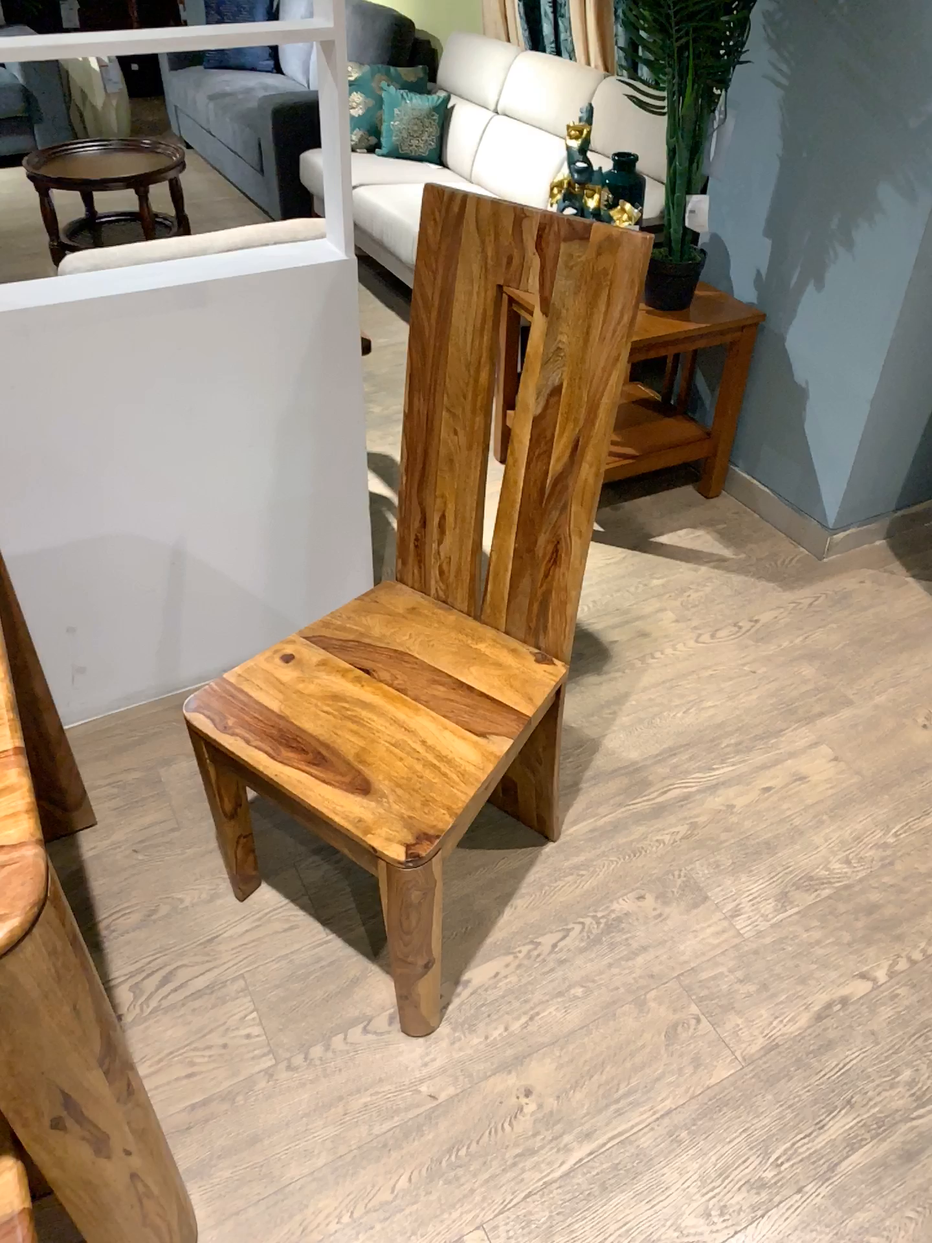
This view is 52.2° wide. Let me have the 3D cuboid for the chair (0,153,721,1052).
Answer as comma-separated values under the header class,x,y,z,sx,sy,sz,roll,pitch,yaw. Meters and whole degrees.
class,x,y,z,sx,sy,sz,roll,pitch,yaw
chair,-0.090,-0.020,1.315,0.501,0.966,0.602,24,45,25
